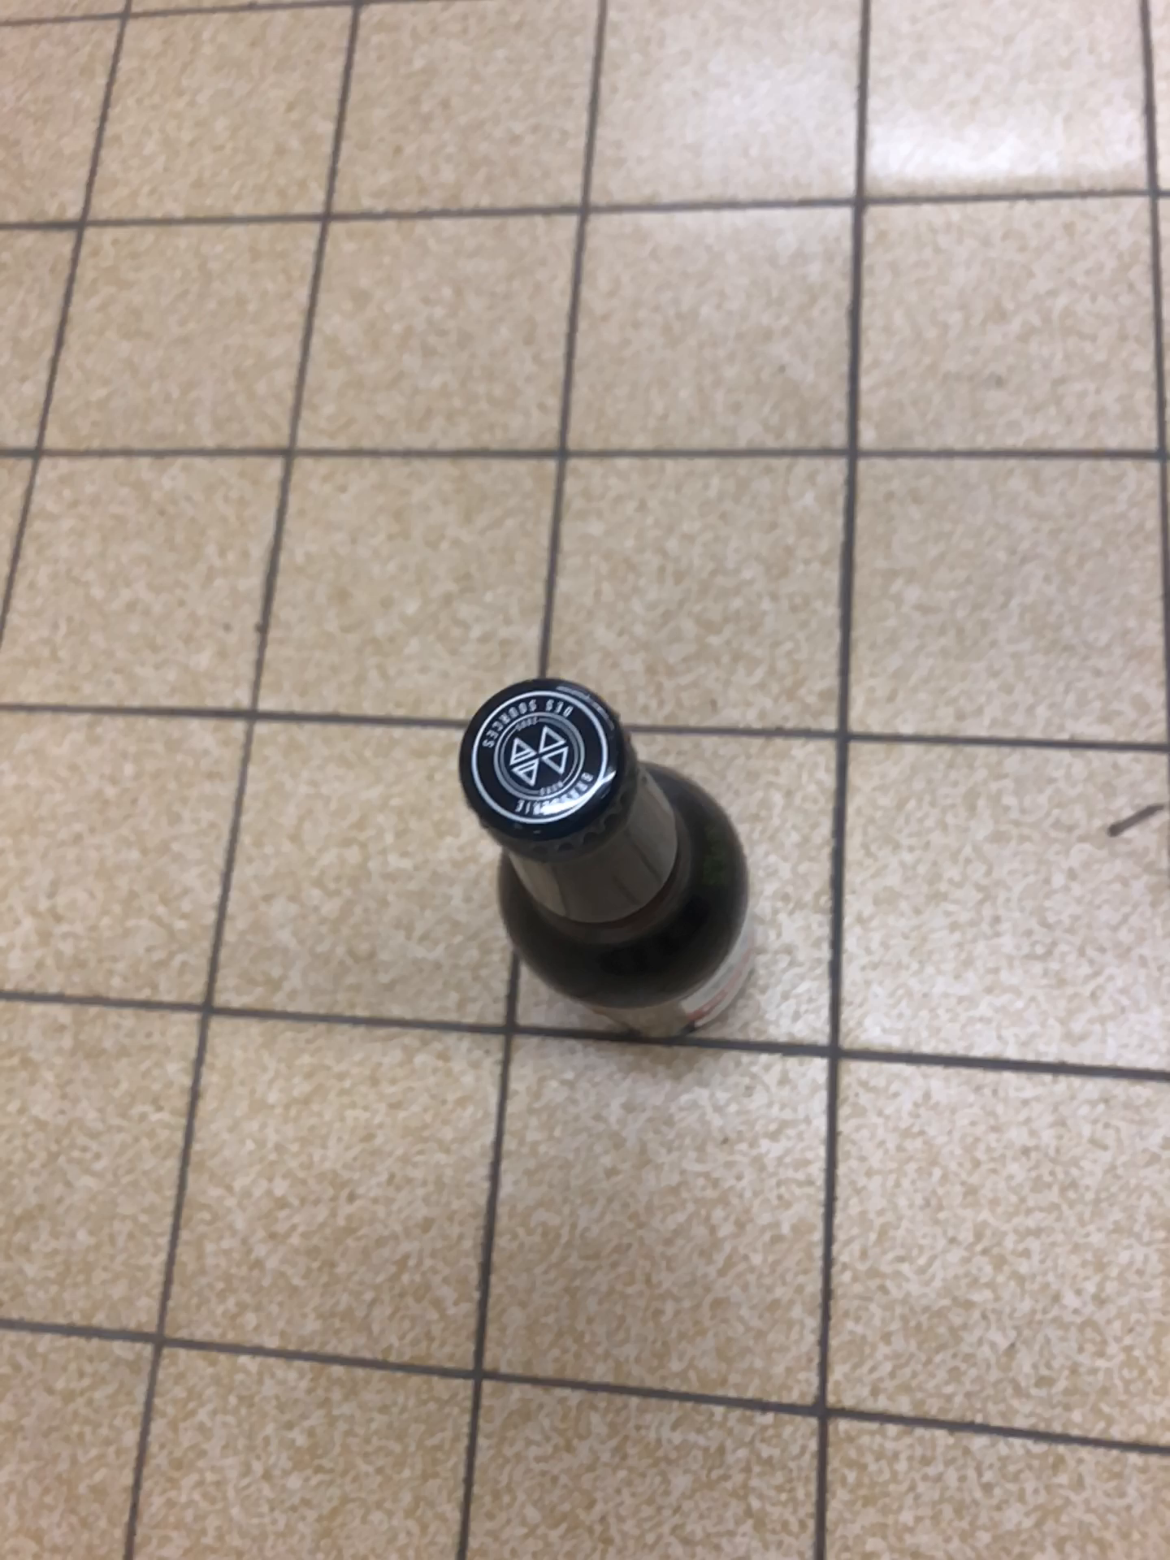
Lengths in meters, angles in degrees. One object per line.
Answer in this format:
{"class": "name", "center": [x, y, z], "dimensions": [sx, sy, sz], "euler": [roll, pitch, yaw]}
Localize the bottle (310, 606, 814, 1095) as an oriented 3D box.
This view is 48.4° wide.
{"class": "bottle", "center": [0.010, 0.035, 0.304], "dimensions": [0.070, 0.220, 0.060], "euler": [-10, 74, 6]}
